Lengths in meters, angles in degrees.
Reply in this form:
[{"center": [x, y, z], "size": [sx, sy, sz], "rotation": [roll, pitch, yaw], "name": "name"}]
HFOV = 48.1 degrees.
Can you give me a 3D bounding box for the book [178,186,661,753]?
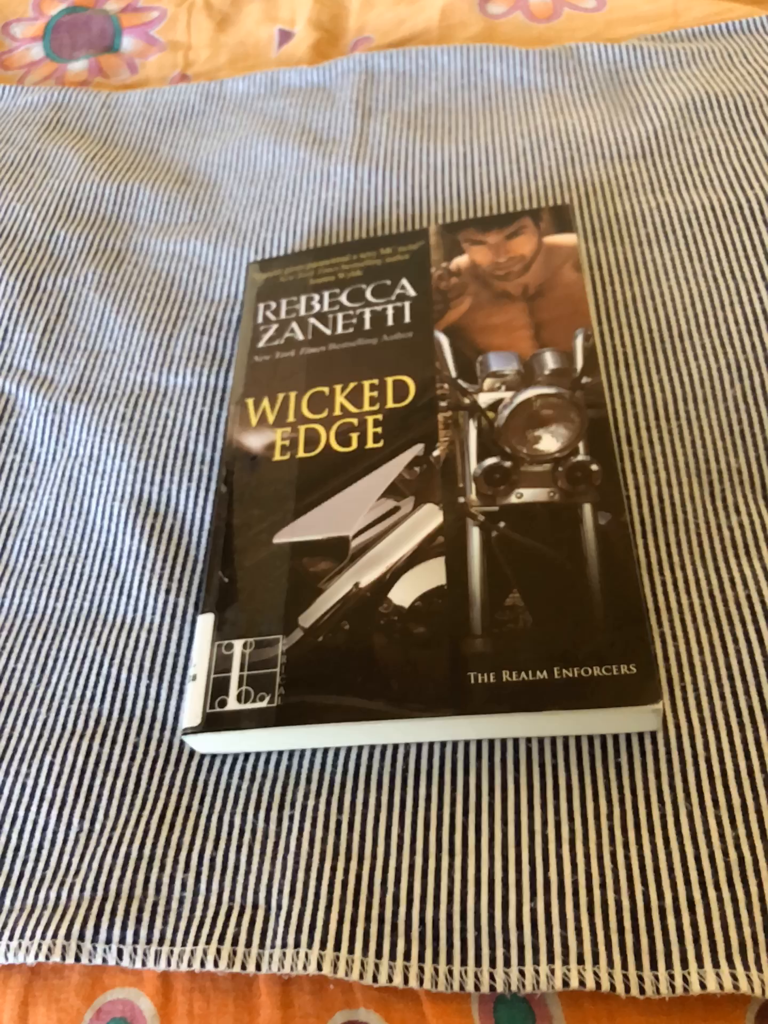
[{"center": [0.011, -0.027, 0.312], "size": [0.137, 0.030, 0.215], "rotation": [-6, 56, 10], "name": "book"}]
